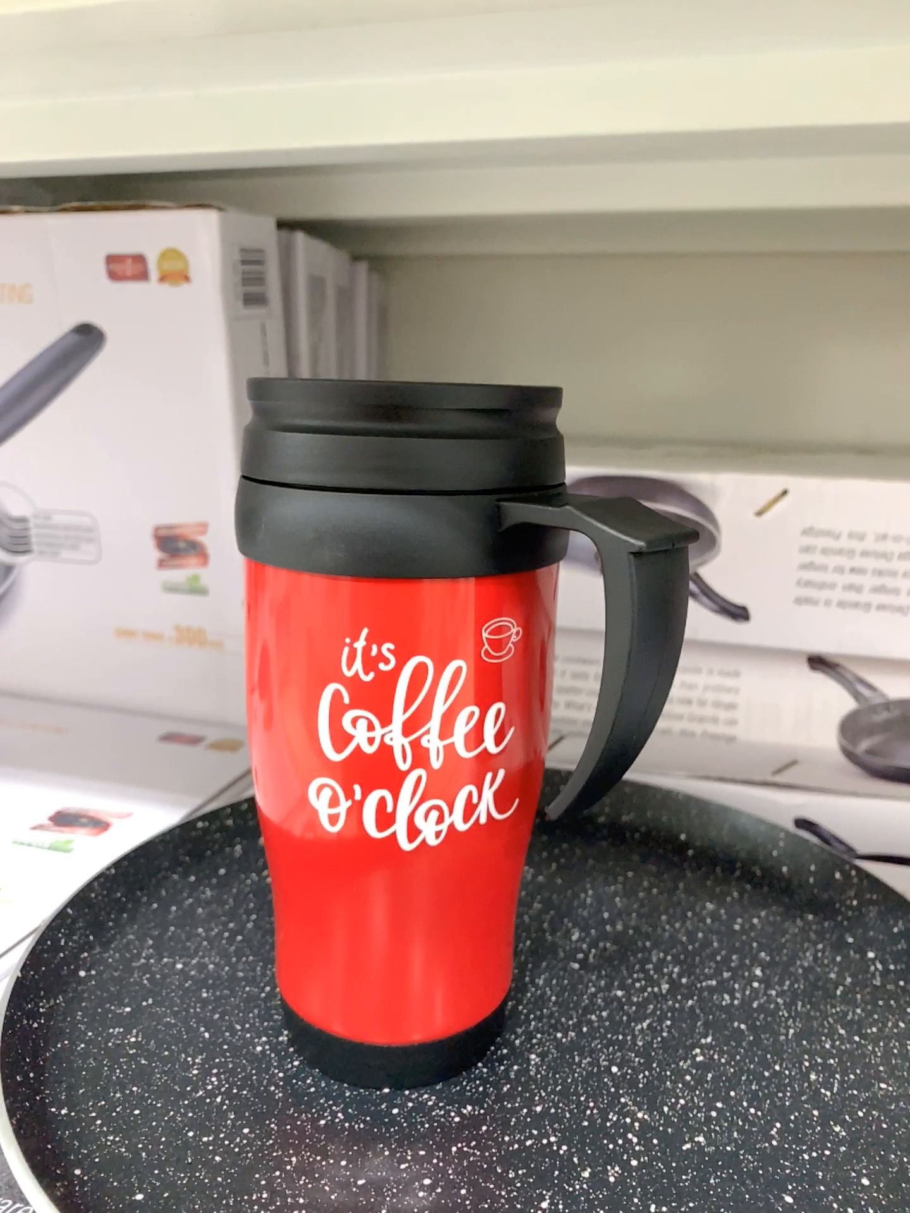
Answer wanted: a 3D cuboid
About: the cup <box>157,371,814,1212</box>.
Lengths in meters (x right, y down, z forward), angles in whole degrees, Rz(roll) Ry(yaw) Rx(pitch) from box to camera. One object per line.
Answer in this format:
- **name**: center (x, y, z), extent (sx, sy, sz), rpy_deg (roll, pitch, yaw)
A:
- **cup**: center (0.005, 0.031, 0.234), extent (0.120, 0.169, 0.090), rpy_deg (10, 14, 36)
